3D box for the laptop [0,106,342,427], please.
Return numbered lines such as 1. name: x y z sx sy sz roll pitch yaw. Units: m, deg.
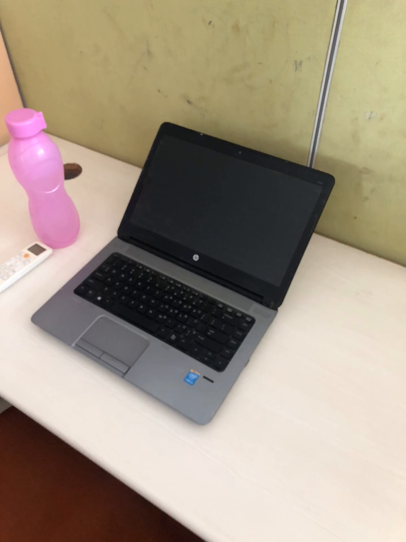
1. laptop: -0.031 -0.046 0.702 0.326 0.147 0.408 24 56 22
